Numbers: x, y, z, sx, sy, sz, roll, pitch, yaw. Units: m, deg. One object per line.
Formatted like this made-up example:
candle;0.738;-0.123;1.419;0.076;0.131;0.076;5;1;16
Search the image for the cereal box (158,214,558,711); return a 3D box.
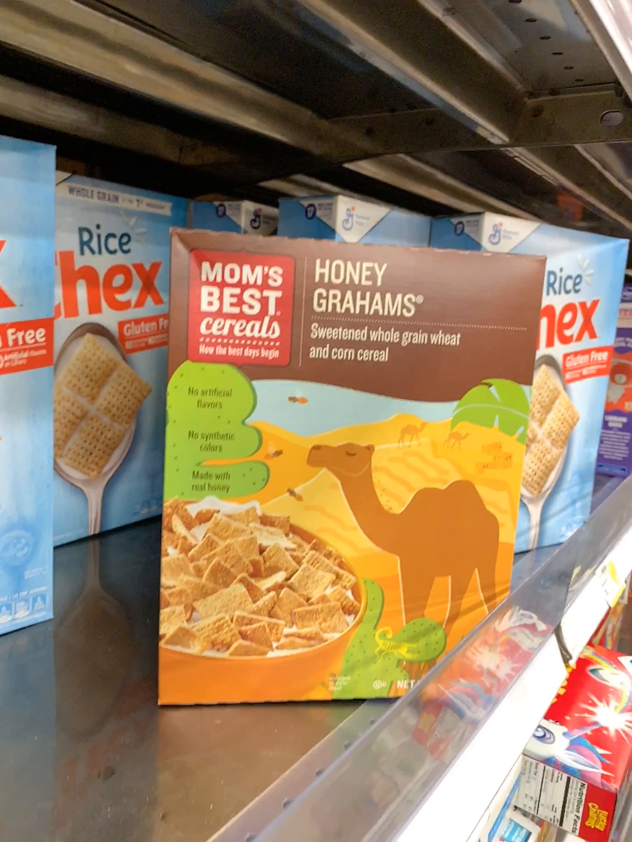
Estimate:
cereal box;0.018;0.027;0.373;0.200;0.259;0.050;2;9;-9
